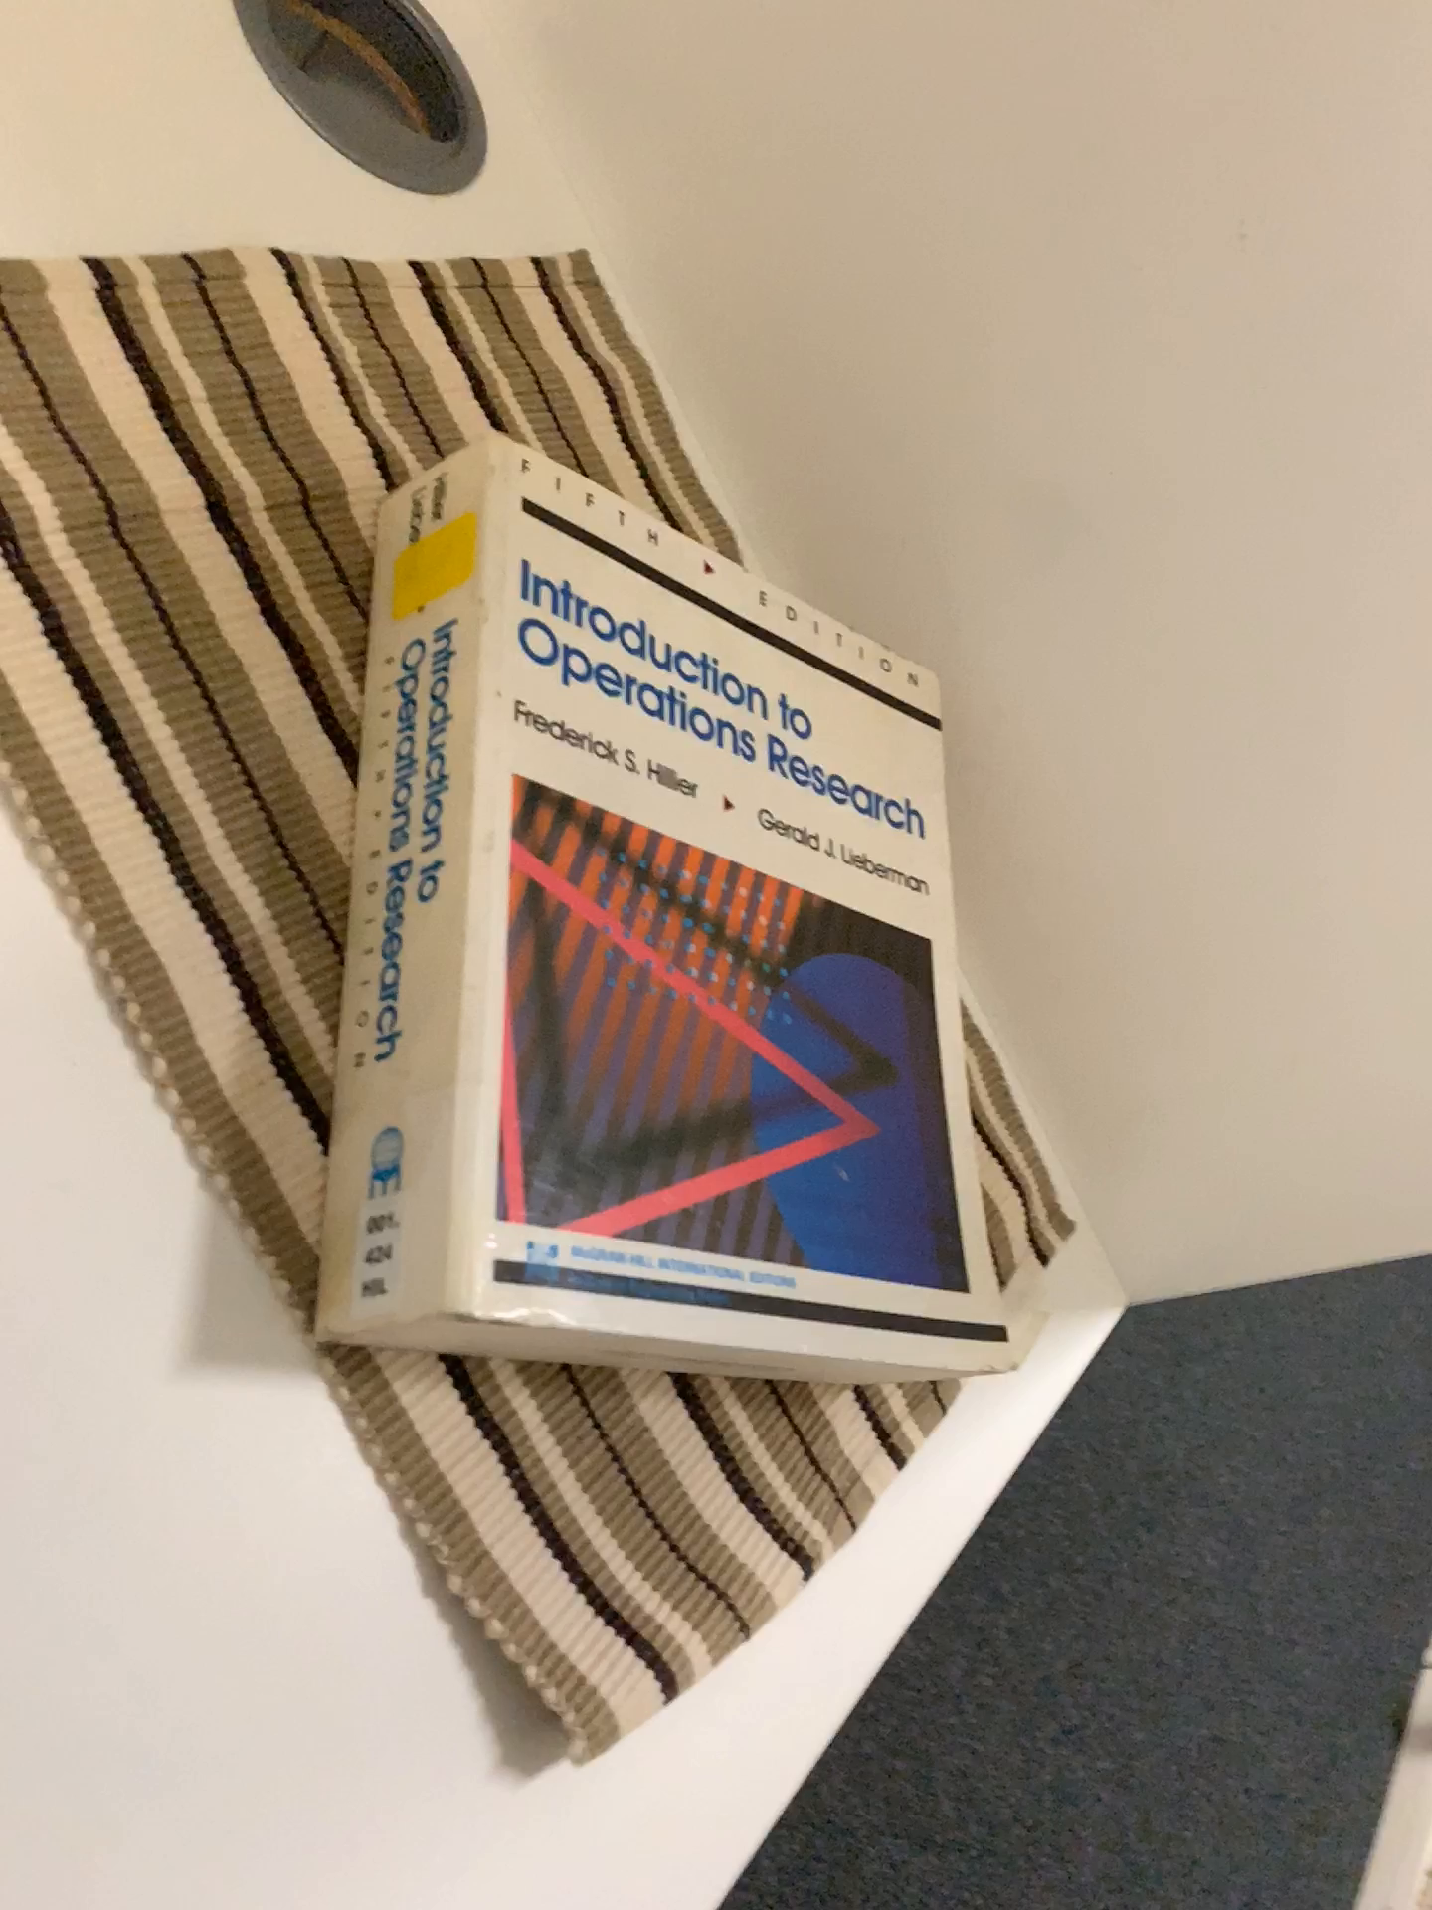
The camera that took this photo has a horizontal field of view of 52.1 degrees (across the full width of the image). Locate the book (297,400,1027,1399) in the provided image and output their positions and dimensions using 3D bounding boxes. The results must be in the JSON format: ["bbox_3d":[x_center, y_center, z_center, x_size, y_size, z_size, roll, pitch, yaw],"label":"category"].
[{"bbox_3d":[-0.005,-0.005,0.414,0.197,0.052,0.234,20,58,-39],"label":"book"}]
